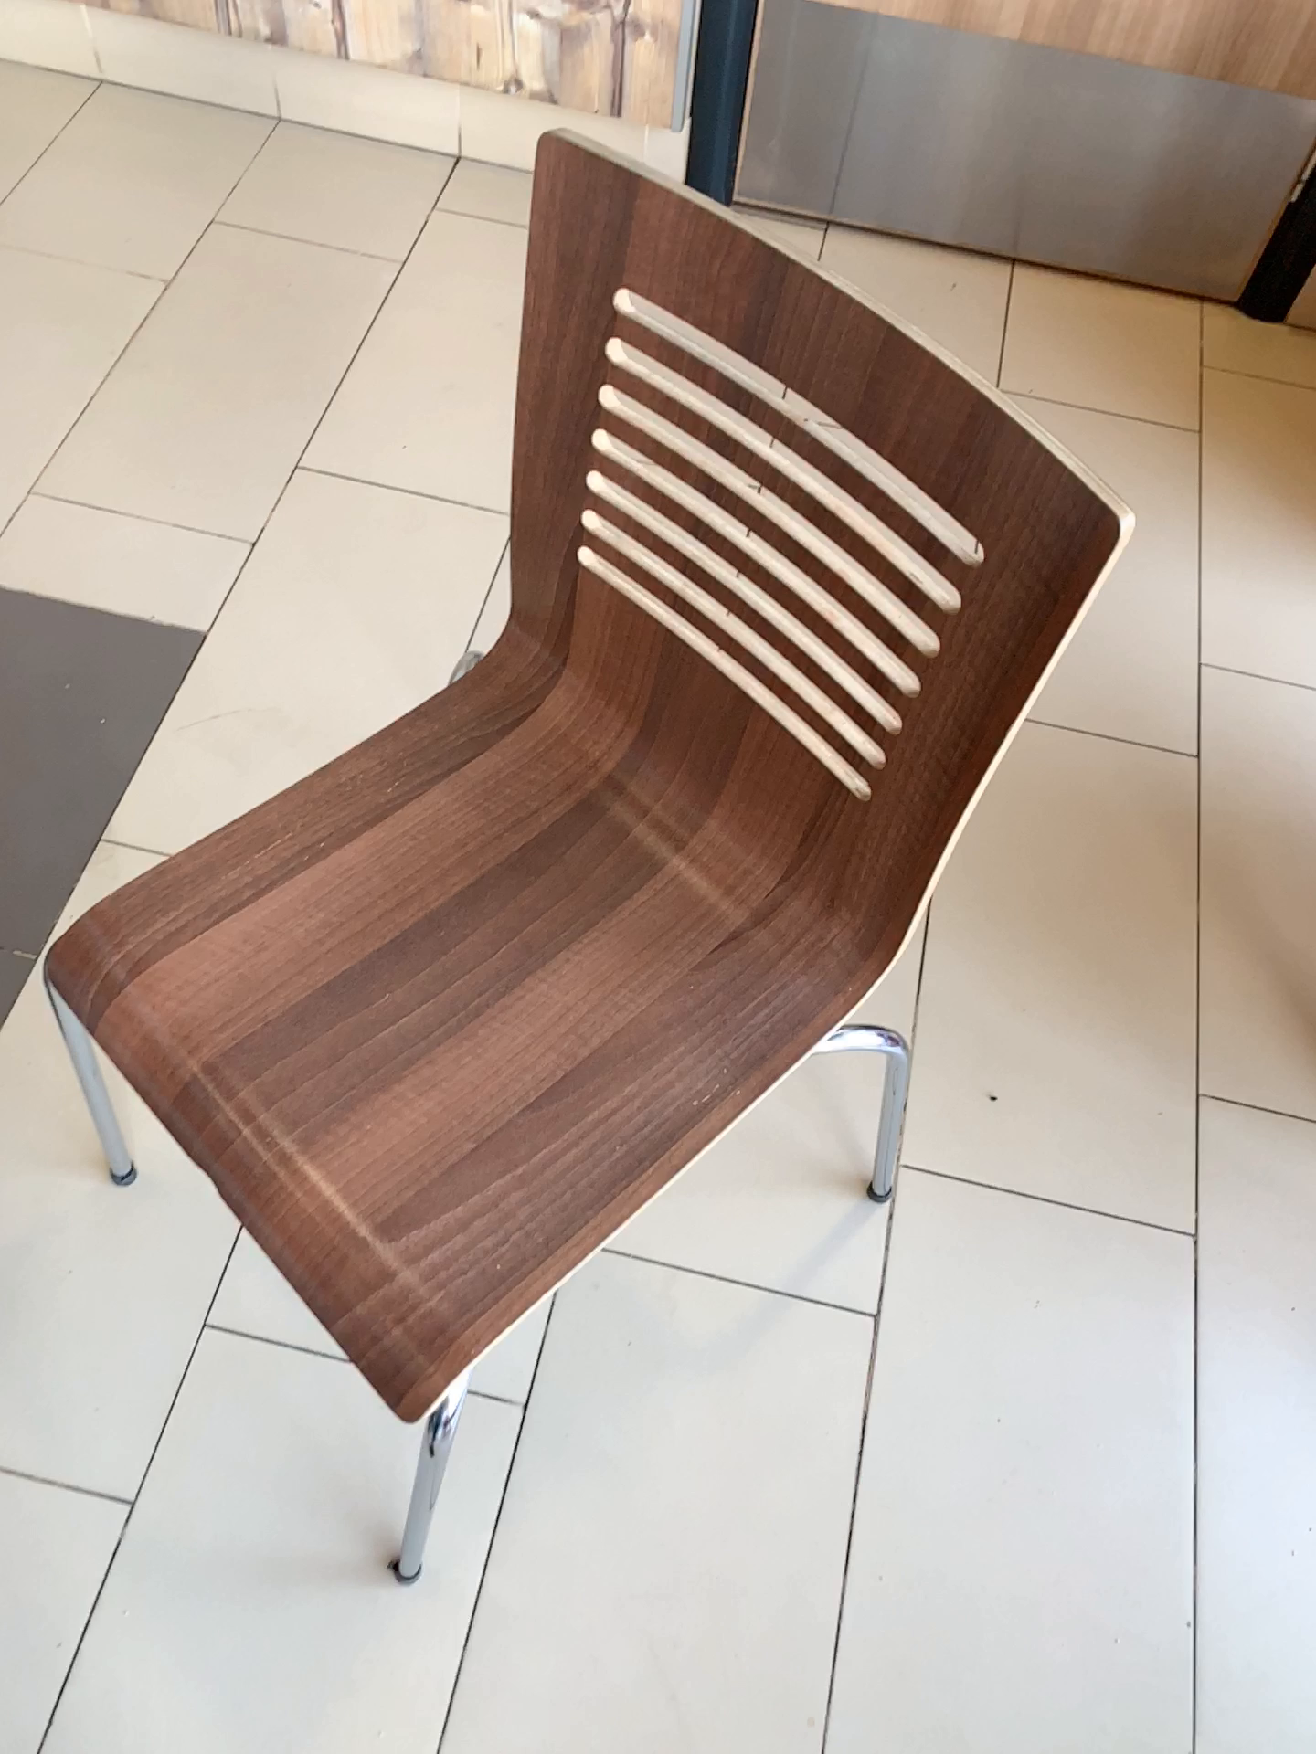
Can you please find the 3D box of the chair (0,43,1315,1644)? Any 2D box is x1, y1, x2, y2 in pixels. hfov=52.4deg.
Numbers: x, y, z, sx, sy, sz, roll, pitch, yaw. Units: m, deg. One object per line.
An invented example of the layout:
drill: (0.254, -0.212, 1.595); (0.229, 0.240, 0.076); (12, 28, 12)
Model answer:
chair: (-0.102, 0.054, 0.916); (0.592, 0.795, 0.546); (-36, 69, -23)
